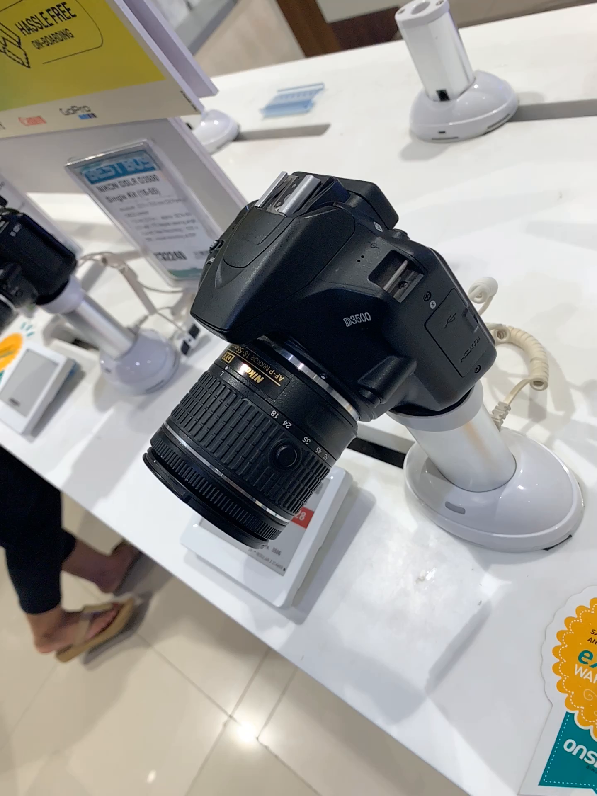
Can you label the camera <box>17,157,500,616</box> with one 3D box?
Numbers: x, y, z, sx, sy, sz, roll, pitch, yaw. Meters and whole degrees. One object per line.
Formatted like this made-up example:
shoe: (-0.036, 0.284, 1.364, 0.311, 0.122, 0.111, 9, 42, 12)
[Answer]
camera: (-0.015, -0.010, 0.224, 0.103, 0.090, 0.111, -50, 44, -8)
